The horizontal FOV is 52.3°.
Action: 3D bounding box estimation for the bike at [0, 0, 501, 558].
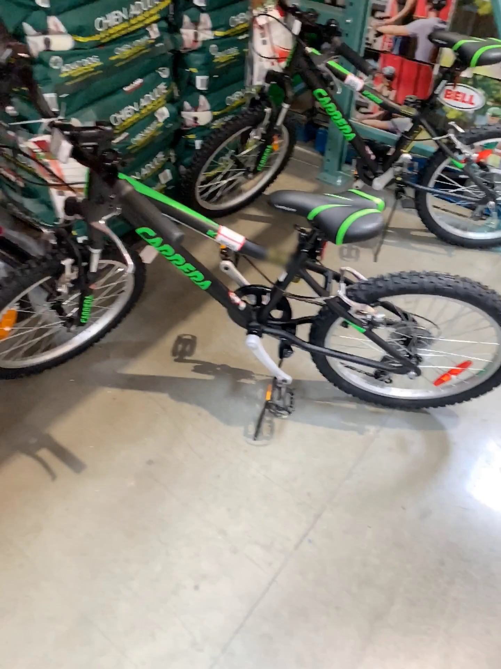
[{"bbox_3d":[0.011,-0.082,1.071,1.304,0.855,0.711,2,45,-2],"label":"bike"}]
